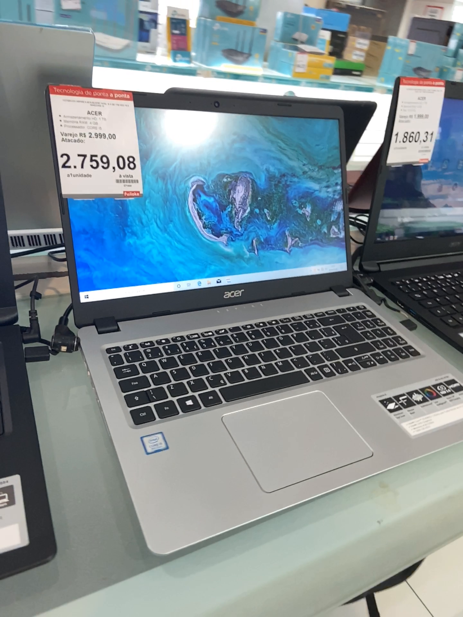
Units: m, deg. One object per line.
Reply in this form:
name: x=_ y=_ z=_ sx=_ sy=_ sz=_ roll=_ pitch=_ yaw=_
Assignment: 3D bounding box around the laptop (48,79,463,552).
laptop: x=0.046 y=-0.058 z=0.448 sx=0.351 sy=0.198 sz=0.363 roll=-8 pitch=37 yaw=-26
